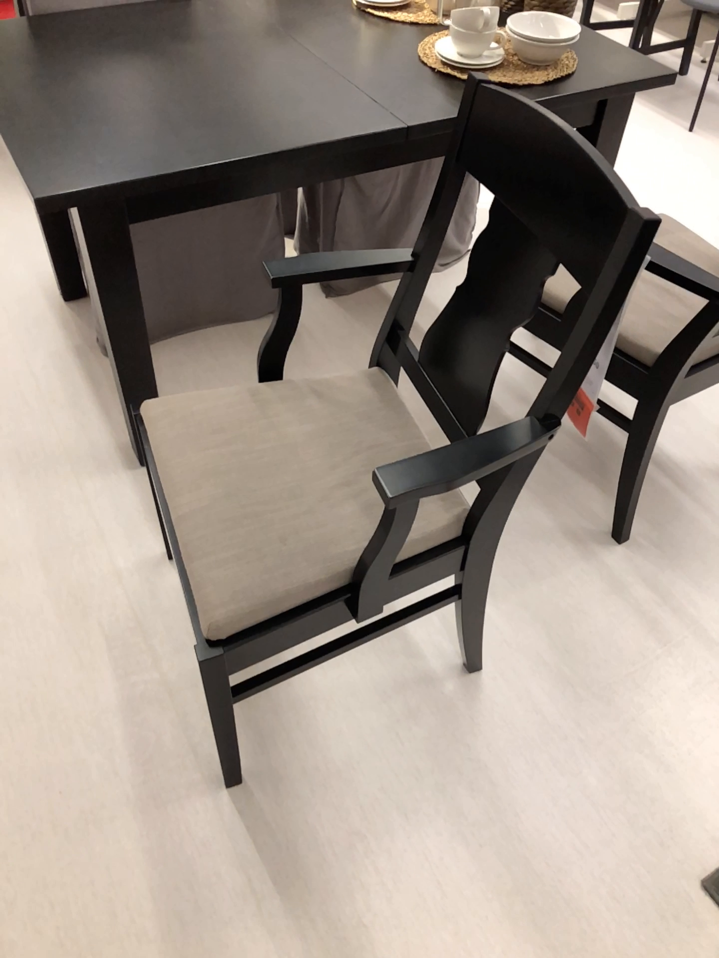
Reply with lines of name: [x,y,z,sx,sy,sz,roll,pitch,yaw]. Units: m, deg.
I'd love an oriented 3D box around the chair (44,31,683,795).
chair: [-0.052,-0.057,1.273,0.570,0.994,0.573,-15,49,-16]
